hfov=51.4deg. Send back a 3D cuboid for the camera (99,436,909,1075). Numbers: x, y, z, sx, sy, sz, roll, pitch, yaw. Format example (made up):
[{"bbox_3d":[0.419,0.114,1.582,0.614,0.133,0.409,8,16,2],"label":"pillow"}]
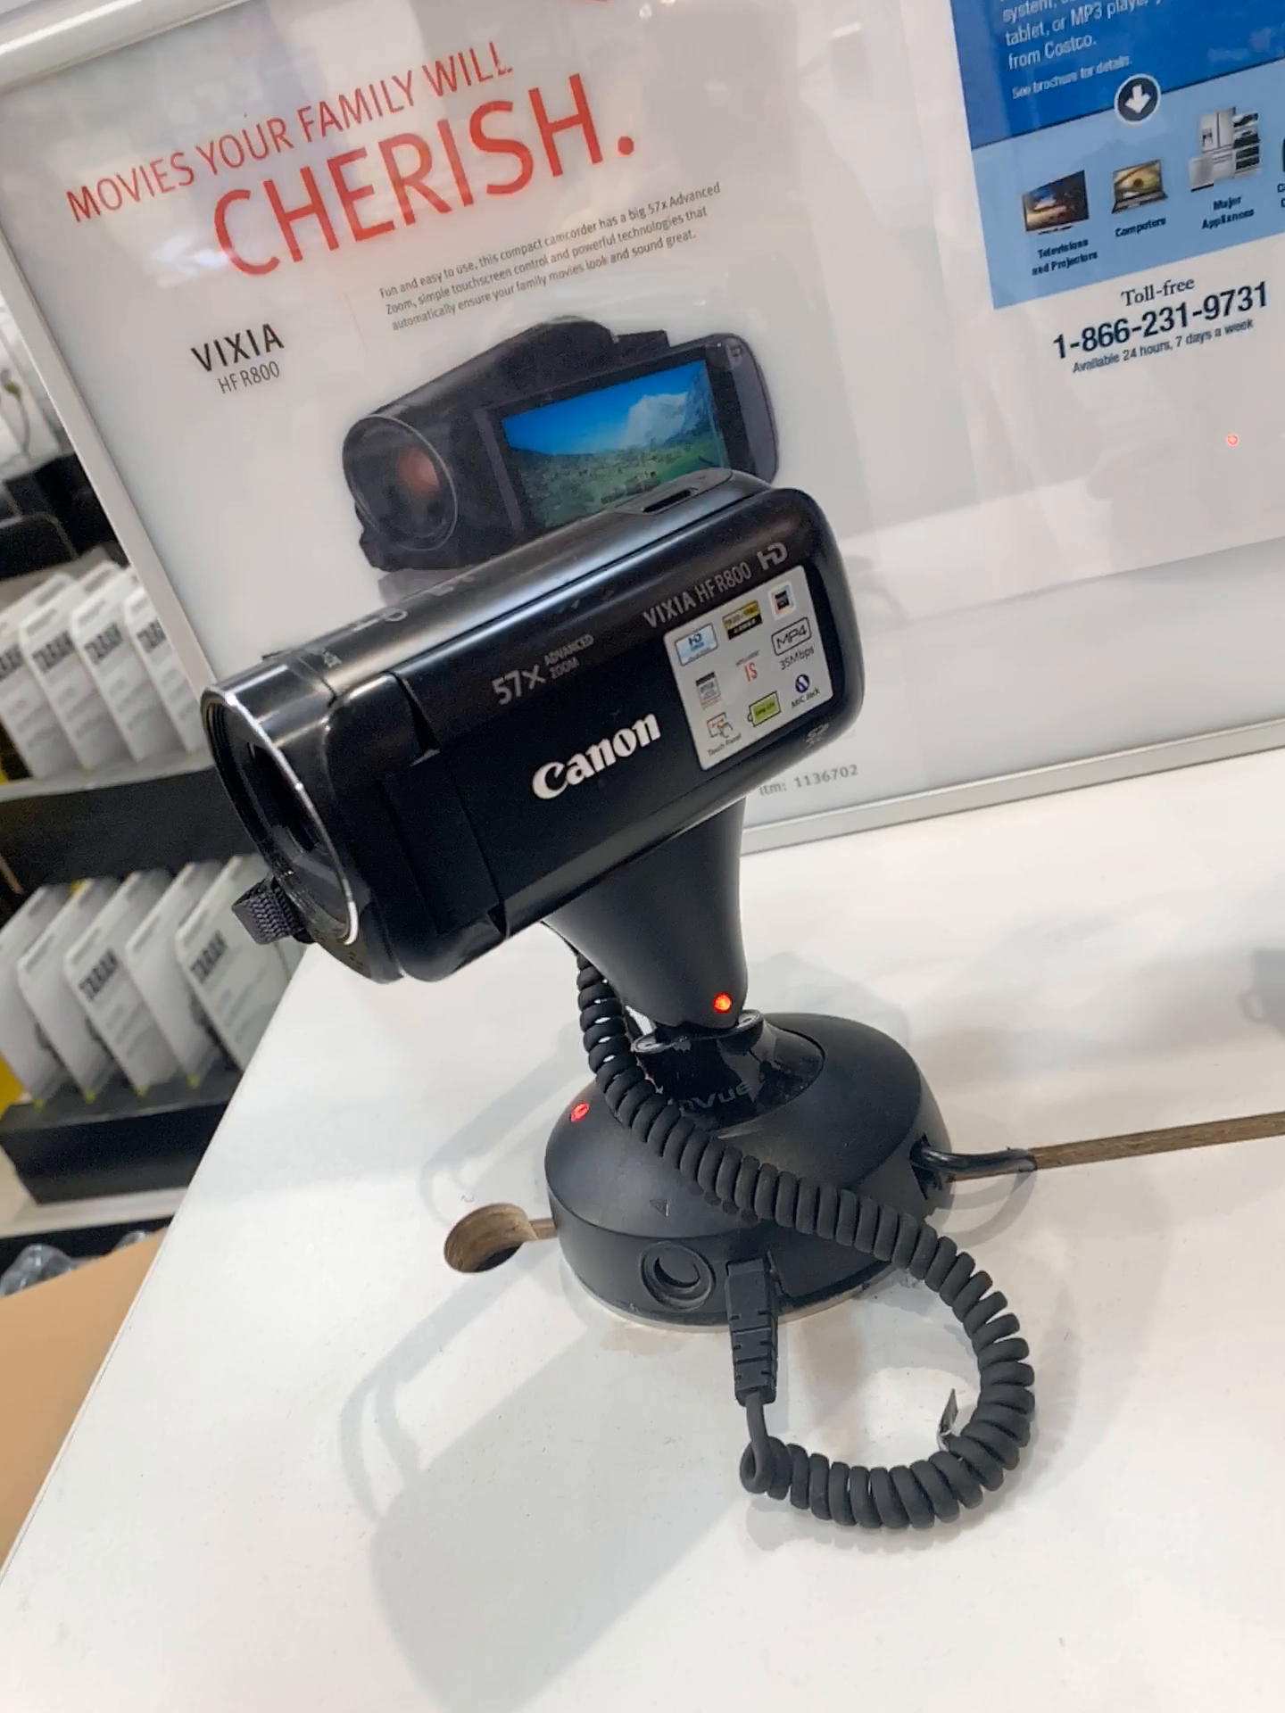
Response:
[{"bbox_3d":[-0.019,-0.026,0.227,0.113,0.054,0.058,-31,31,-26],"label":"camera"}]
